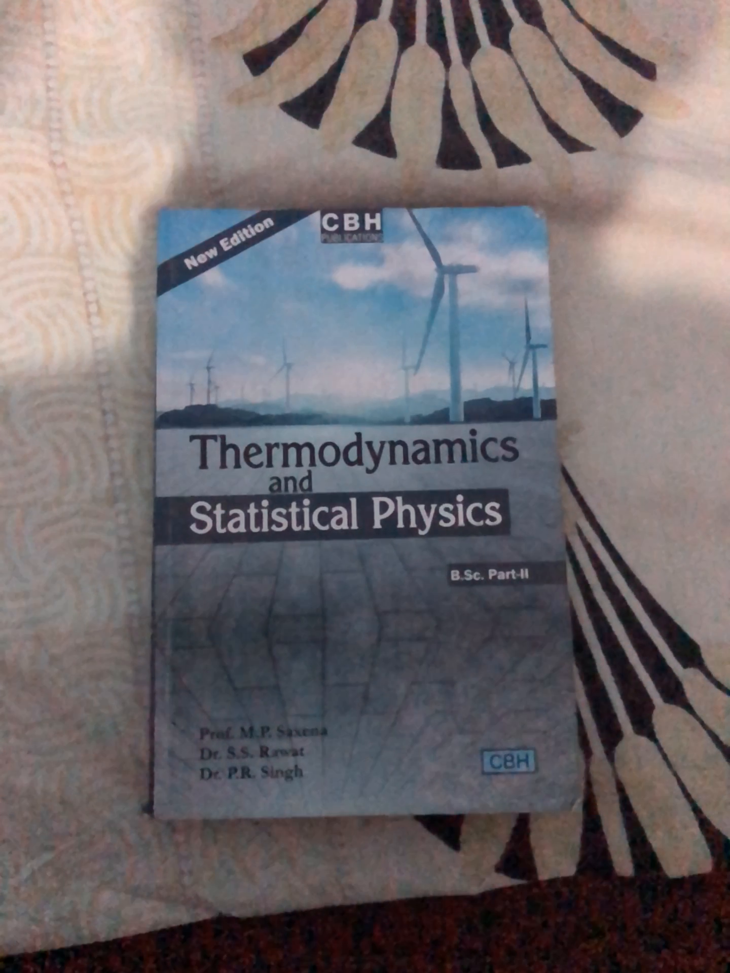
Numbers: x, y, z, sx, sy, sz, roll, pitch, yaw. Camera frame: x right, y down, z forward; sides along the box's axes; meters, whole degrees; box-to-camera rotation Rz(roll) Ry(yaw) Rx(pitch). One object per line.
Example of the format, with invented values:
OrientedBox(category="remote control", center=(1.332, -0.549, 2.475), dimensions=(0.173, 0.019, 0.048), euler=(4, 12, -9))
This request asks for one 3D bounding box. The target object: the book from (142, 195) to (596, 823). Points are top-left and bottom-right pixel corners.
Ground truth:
OrientedBox(category="book", center=(-0.001, 0.006, 0.332), dimensions=(0.170, 0.030, 0.240), euler=(-2, 86, -1))
